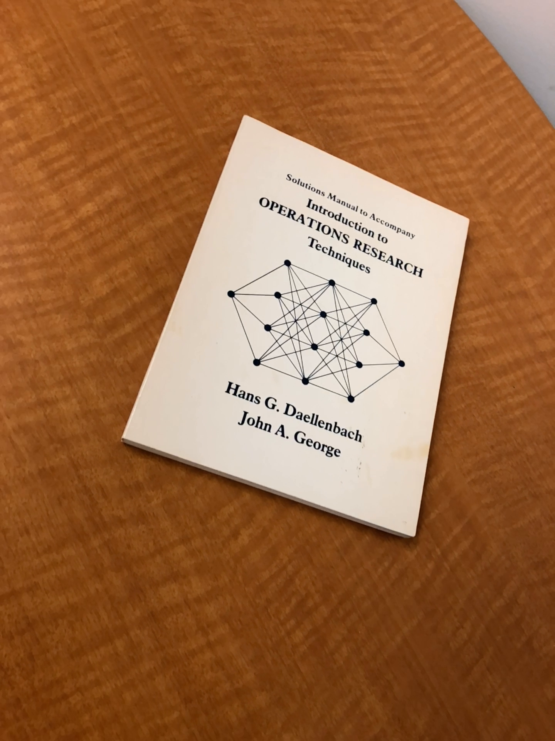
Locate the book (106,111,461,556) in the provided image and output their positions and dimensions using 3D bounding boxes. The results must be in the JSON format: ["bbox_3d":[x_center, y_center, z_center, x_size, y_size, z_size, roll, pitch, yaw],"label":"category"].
[{"bbox_3d":[0.021,-0.031,0.397,0.180,0.020,0.251,21,66,-13],"label":"book"}]
